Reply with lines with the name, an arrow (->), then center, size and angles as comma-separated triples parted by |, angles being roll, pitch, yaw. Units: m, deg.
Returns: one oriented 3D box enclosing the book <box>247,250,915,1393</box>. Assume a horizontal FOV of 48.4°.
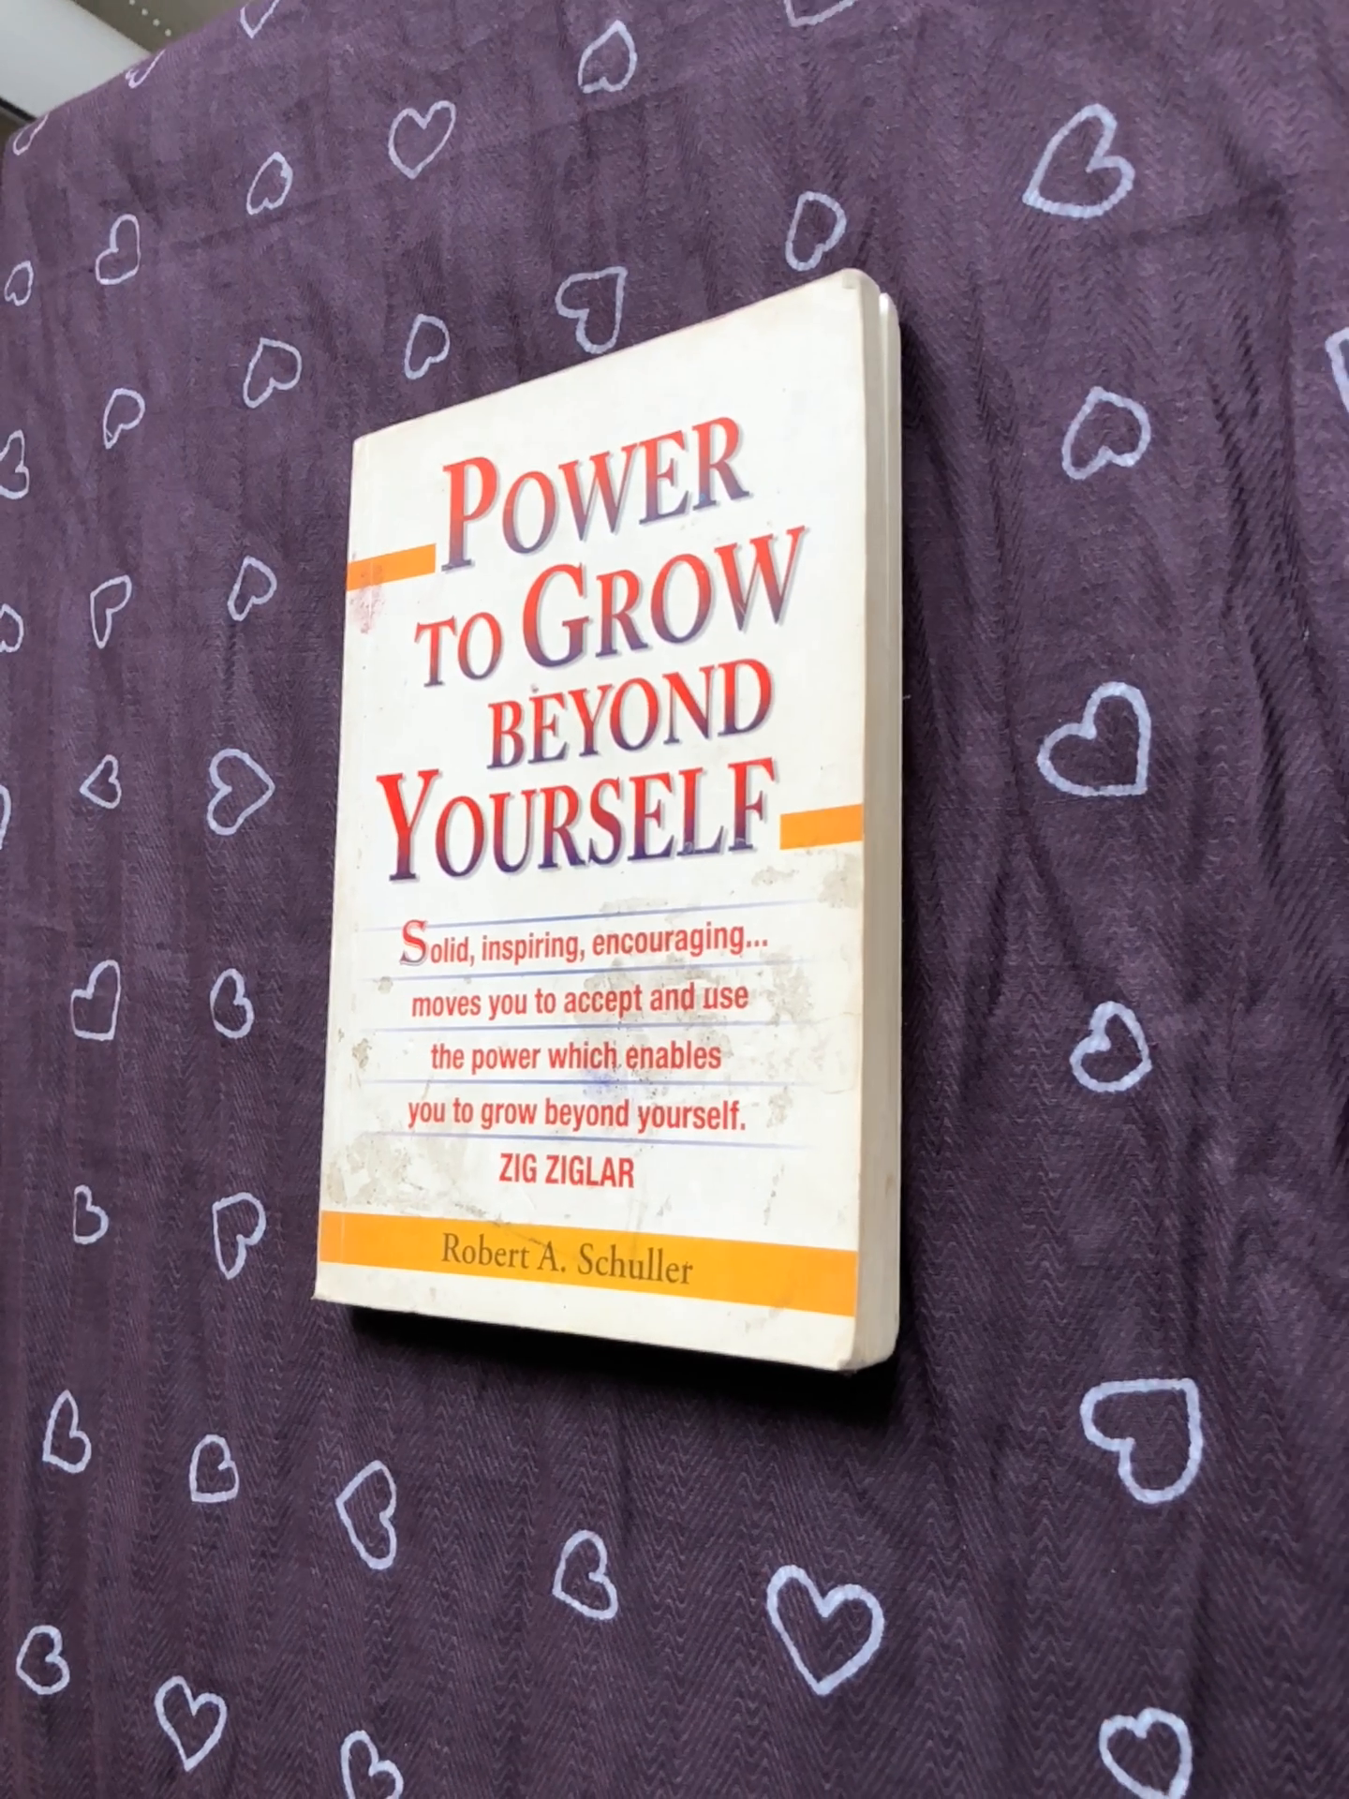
book -> -0.019, -0.012, 0.276 | 0.120, 0.030, 0.180 | -3, 82, 30
